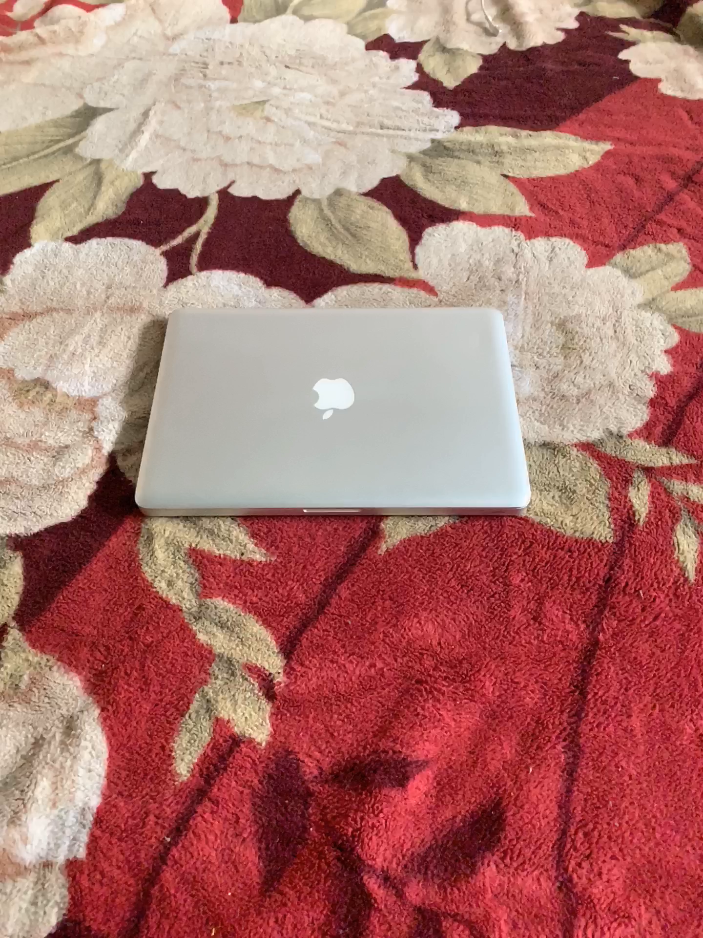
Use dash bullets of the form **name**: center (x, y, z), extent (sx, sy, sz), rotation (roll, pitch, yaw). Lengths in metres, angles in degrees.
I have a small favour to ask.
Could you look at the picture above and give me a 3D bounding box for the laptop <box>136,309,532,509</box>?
- **laptop**: center (-0.014, -0.059, 0.619), extent (0.310, 0.001, 0.210), rotation (0, 58, 0)
